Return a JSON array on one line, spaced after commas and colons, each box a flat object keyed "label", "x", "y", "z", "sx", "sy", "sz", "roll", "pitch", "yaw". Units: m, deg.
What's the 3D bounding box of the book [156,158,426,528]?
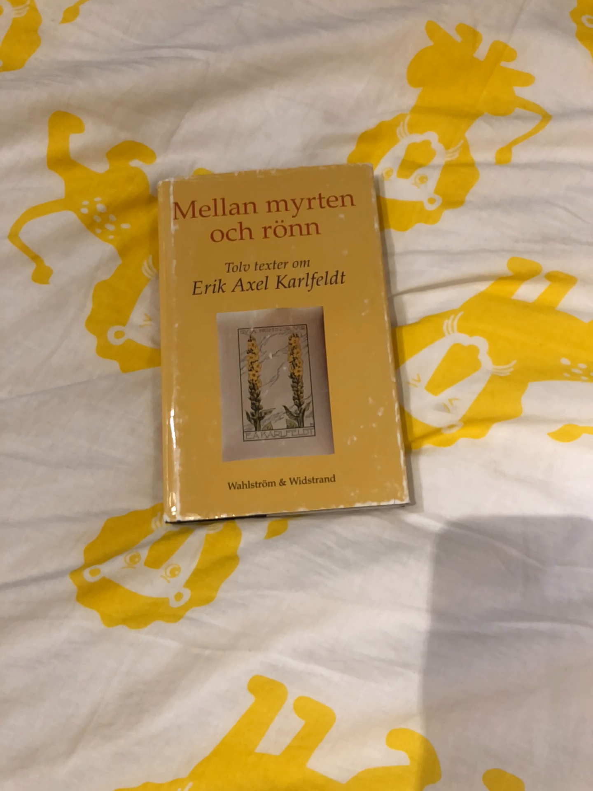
[{"label": "book", "x": -0.009, "y": -0.036, "z": 0.395, "sx": 0.141, "sy": 0.030, "sz": 0.215, "roll": -4, "pitch": 73, "yaw": -1}]
